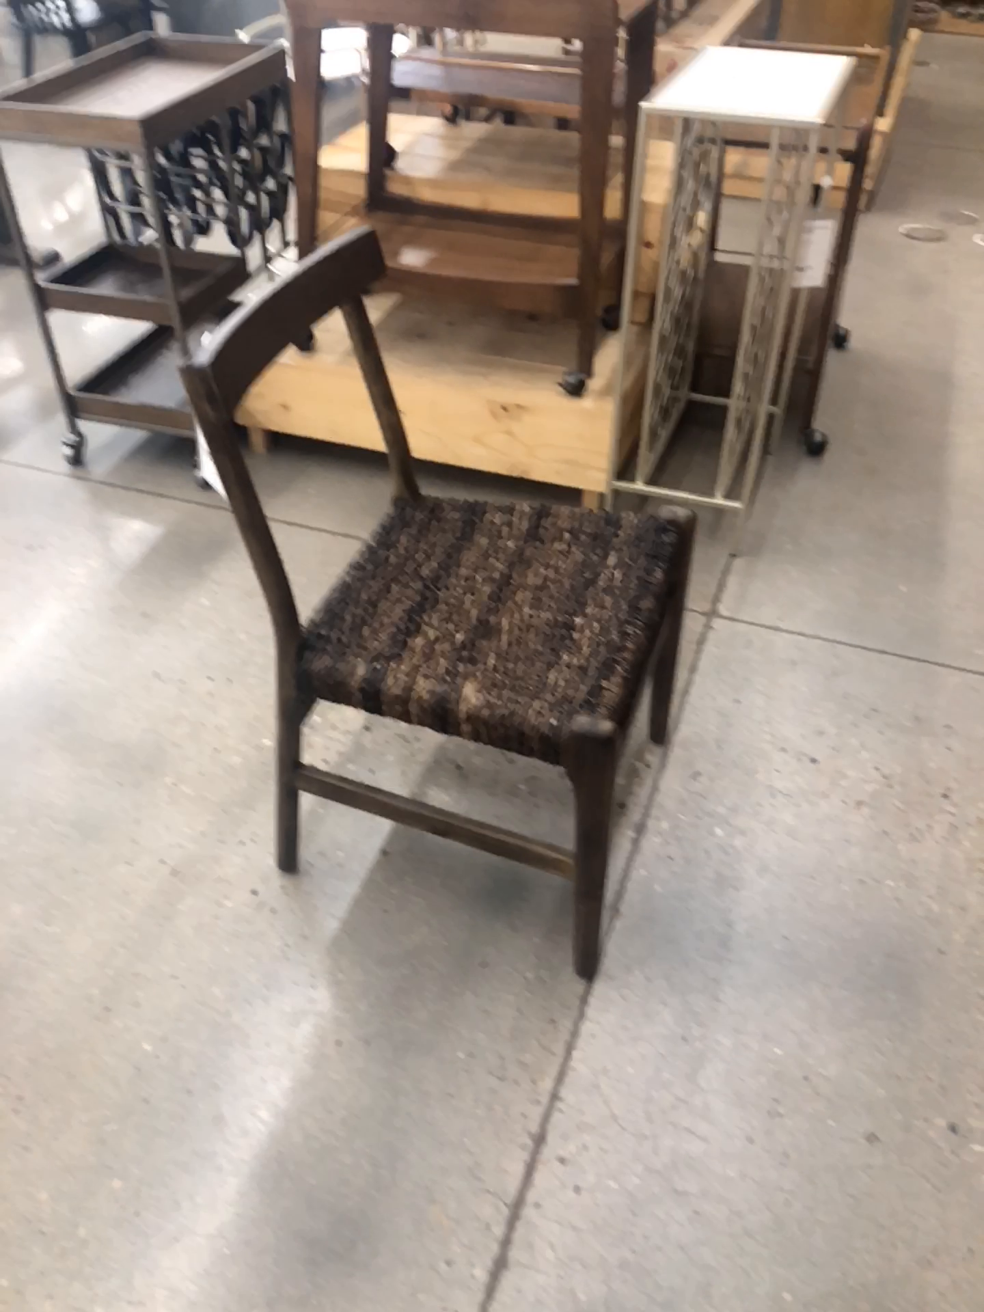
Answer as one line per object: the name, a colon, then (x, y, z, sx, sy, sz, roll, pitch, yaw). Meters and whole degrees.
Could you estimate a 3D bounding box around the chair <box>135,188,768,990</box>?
chair: (-0.008, -0.089, 1.441, 0.533, 0.816, 0.551, 13, 42, 14)
